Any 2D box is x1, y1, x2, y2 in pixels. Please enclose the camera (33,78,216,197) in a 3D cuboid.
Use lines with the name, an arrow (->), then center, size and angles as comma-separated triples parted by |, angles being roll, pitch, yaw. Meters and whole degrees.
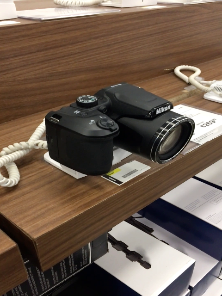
camera -> 0.015, -0.020, 0.302 | 0.106, 0.064, 0.124 | 28, 43, 36
